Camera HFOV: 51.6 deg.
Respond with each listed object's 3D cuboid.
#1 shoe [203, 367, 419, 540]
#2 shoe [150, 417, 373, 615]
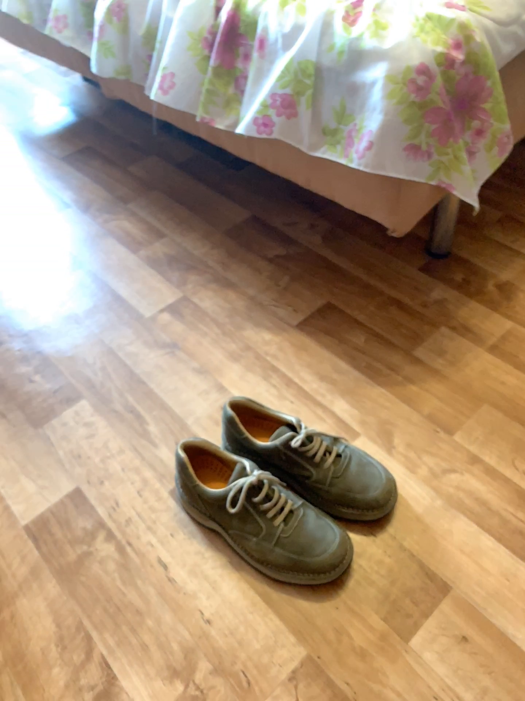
[{"bbox_3d":[0.071,0.150,0.832,0.290,0.110,0.120,20,53,22],"label":"shoe"},{"bbox_3d":[-0.002,0.233,0.793,0.291,0.120,0.120,23,54,24],"label":"shoe"}]
